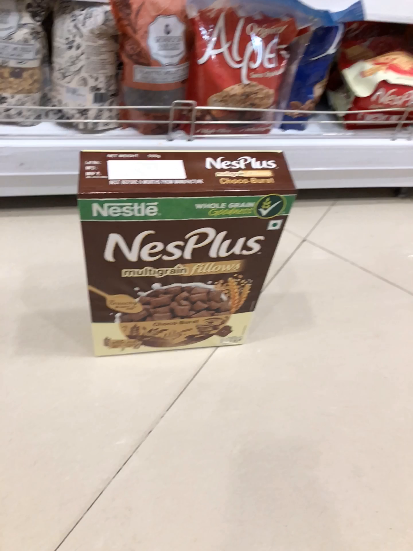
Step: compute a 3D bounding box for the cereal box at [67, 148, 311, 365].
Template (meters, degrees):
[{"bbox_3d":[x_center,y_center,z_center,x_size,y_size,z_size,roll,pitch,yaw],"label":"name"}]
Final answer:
[{"bbox_3d":[-0.030,-0.006,0.483,0.200,0.258,0.060,-3,50,-12],"label":"cereal box"}]
